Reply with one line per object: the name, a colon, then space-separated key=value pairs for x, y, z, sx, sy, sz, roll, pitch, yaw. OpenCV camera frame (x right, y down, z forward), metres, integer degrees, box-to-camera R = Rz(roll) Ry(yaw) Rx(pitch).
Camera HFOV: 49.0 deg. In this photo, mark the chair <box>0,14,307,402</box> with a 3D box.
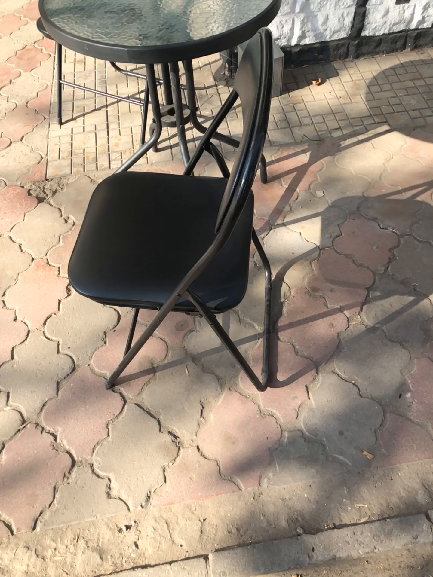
chair: x=-0.080 y=-0.136 z=1.073 sx=0.470 sy=0.698 sz=0.502 roll=2 pitch=53 yaw=5
